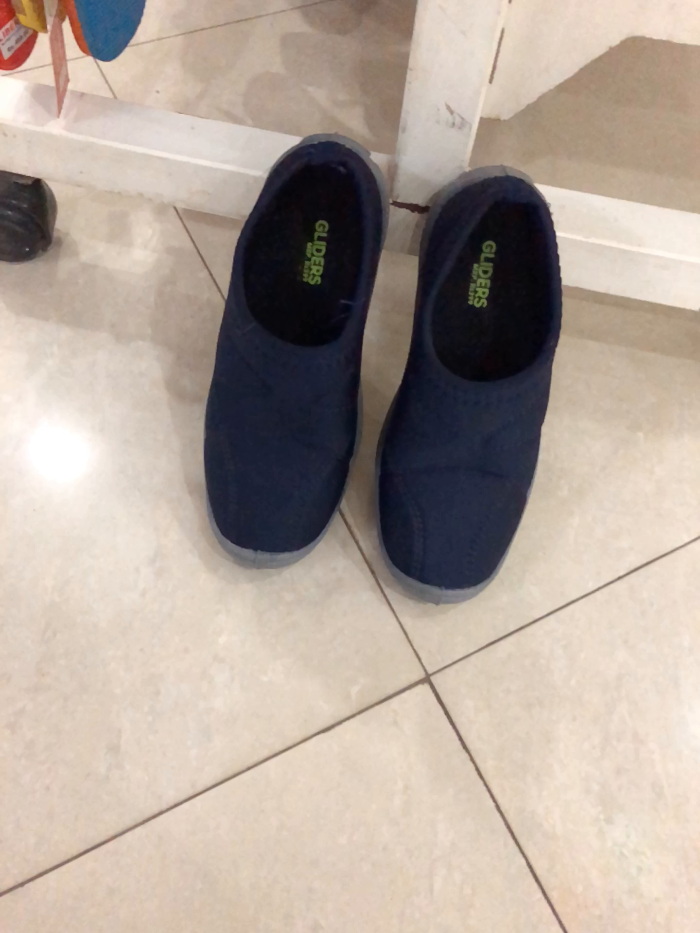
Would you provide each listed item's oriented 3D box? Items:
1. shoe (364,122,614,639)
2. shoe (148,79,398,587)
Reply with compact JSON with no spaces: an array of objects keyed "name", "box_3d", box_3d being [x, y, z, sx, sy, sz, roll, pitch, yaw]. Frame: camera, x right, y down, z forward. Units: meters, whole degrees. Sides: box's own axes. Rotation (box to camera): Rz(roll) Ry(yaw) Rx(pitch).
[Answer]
[{"name":"shoe","box_3d":[0.140,-0.084,0.860,0.186,0.208,0.489,8,86,1]},{"name":"shoe","box_3d":[-0.074,-0.124,0.828,0.160,0.200,0.460,9,88,-2]}]
